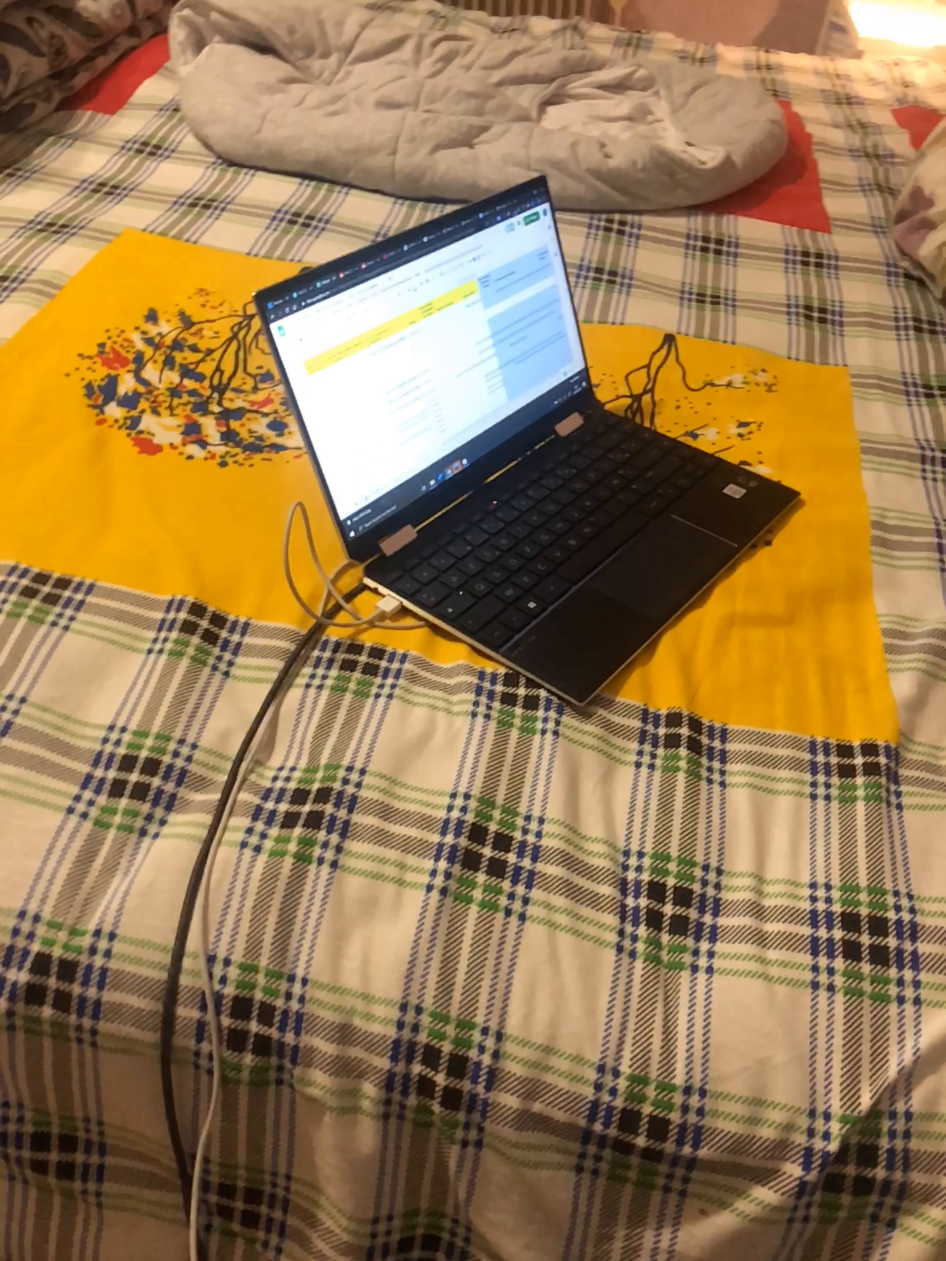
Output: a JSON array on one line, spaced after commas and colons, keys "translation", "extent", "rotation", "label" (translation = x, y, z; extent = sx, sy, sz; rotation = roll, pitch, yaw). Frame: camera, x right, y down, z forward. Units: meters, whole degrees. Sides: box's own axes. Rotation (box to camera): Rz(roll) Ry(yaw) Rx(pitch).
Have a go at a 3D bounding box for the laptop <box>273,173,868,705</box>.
[{"translation": [0.060, -0.146, 0.682], "extent": [0.254, 0.158, 0.275], "rotation": [32, 51, 26], "label": "laptop"}]
